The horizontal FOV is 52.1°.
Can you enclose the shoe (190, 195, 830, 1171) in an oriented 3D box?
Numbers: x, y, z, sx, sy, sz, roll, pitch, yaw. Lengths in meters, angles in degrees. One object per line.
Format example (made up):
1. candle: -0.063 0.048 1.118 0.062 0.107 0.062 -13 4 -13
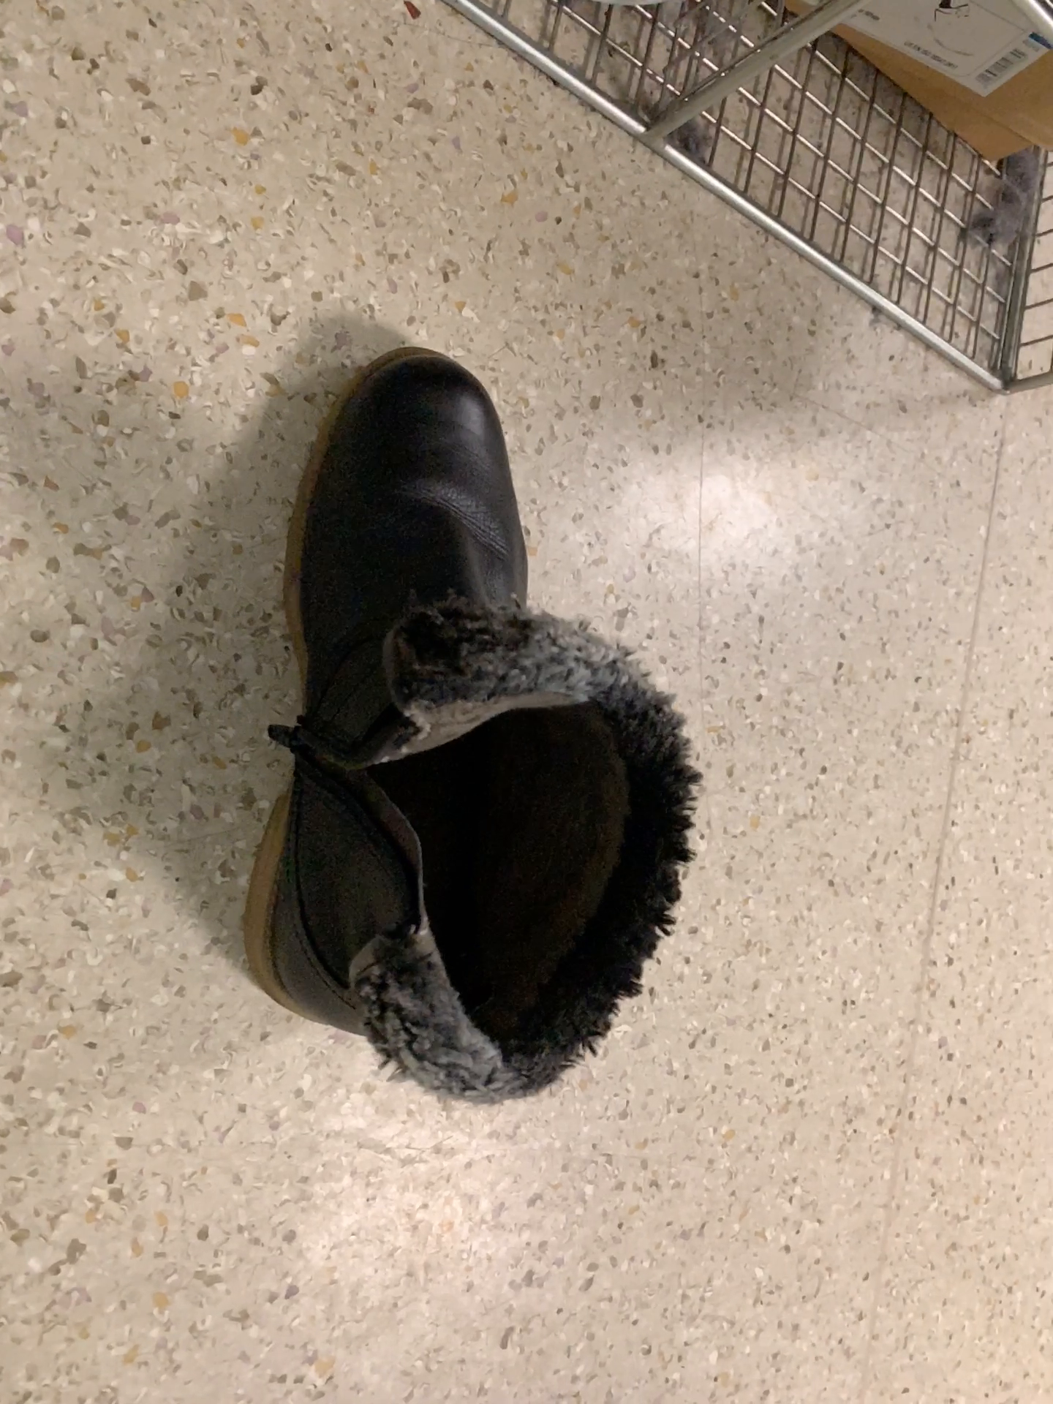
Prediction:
1. shoe: -0.014 -0.001 0.356 0.104 0.169 0.237 12 83 -34
